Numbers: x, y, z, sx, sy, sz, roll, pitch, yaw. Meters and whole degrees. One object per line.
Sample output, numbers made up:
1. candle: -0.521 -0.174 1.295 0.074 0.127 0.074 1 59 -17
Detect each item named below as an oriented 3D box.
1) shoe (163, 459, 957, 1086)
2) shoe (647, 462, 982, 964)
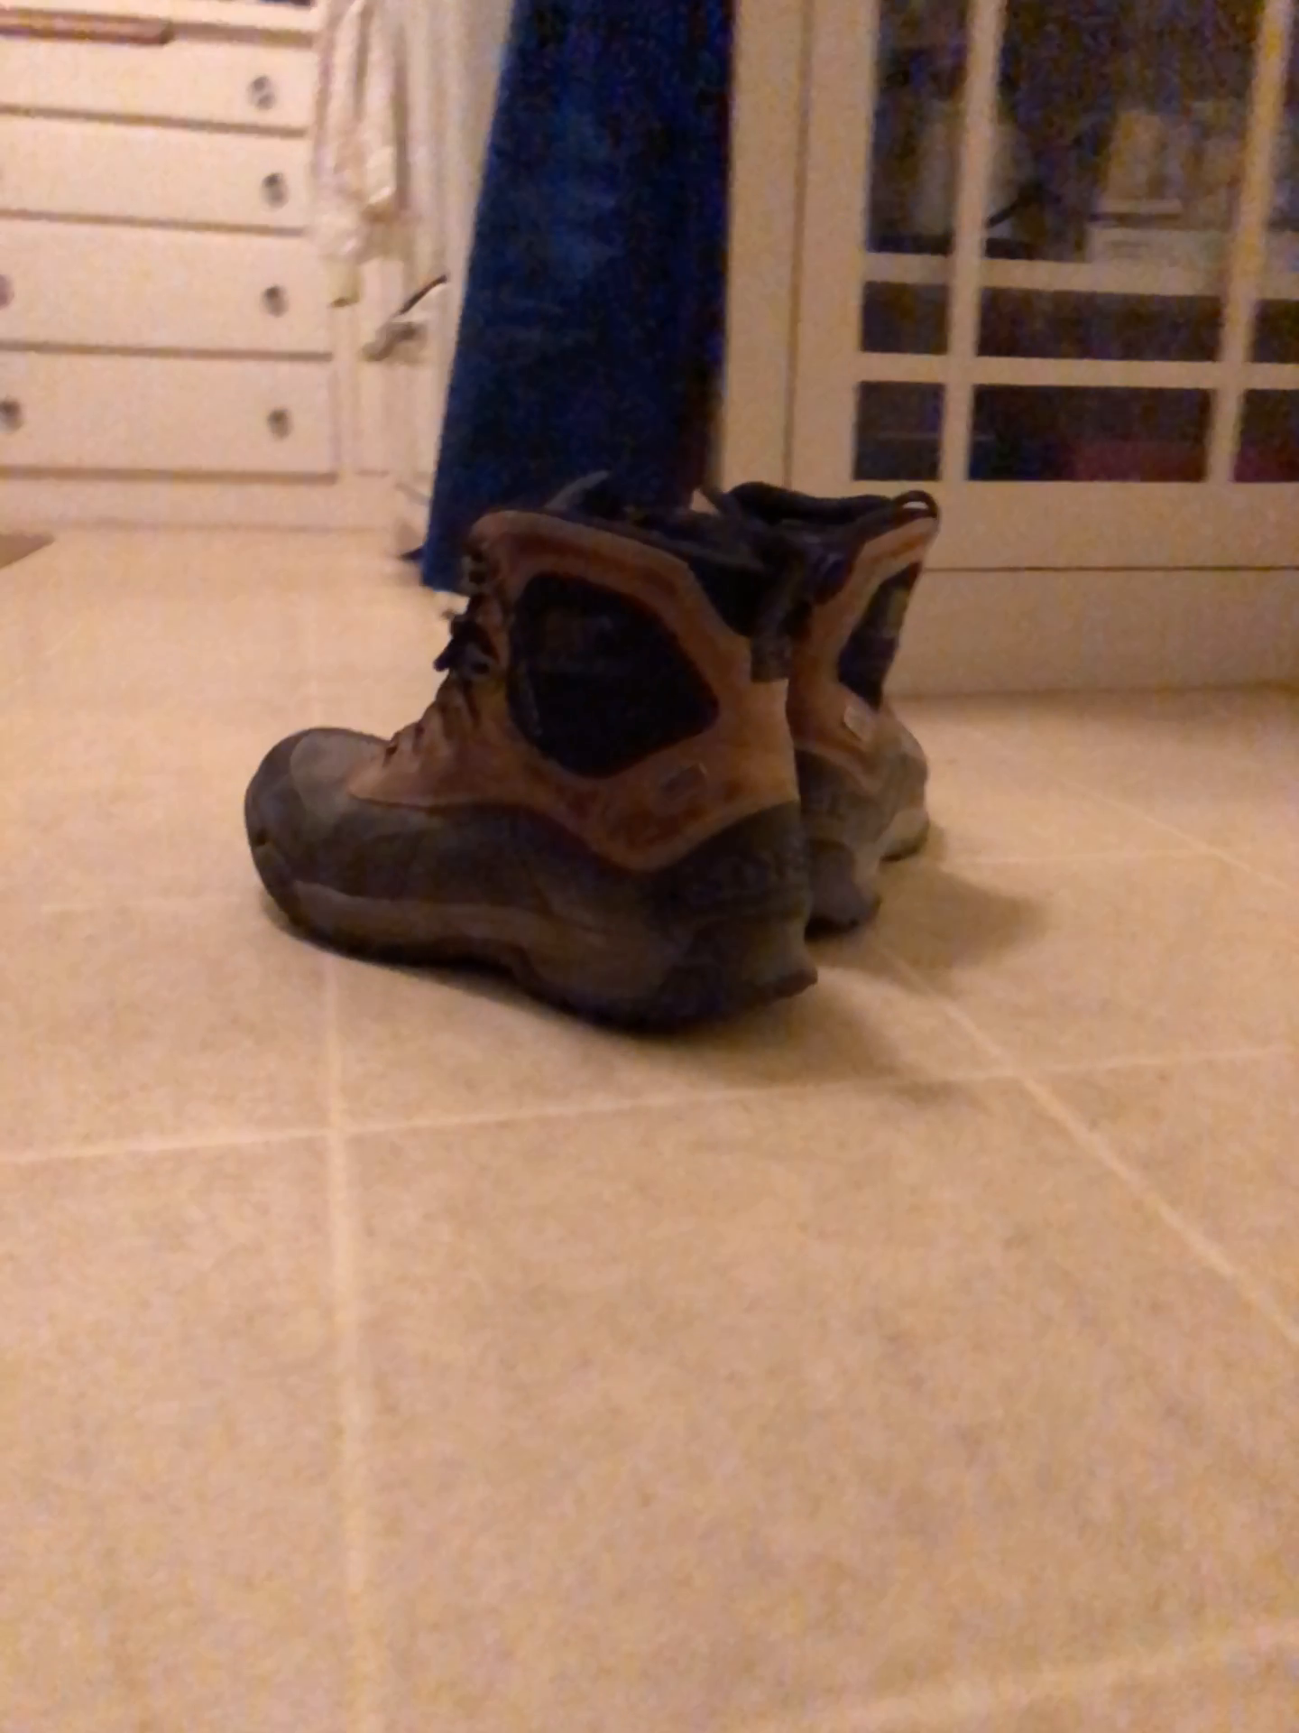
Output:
1. shoe: -0.049 -0.062 0.572 0.299 0.185 0.122 15 21 37
2. shoe: 0.092 -0.096 0.695 0.113 0.185 0.294 6 17 13
